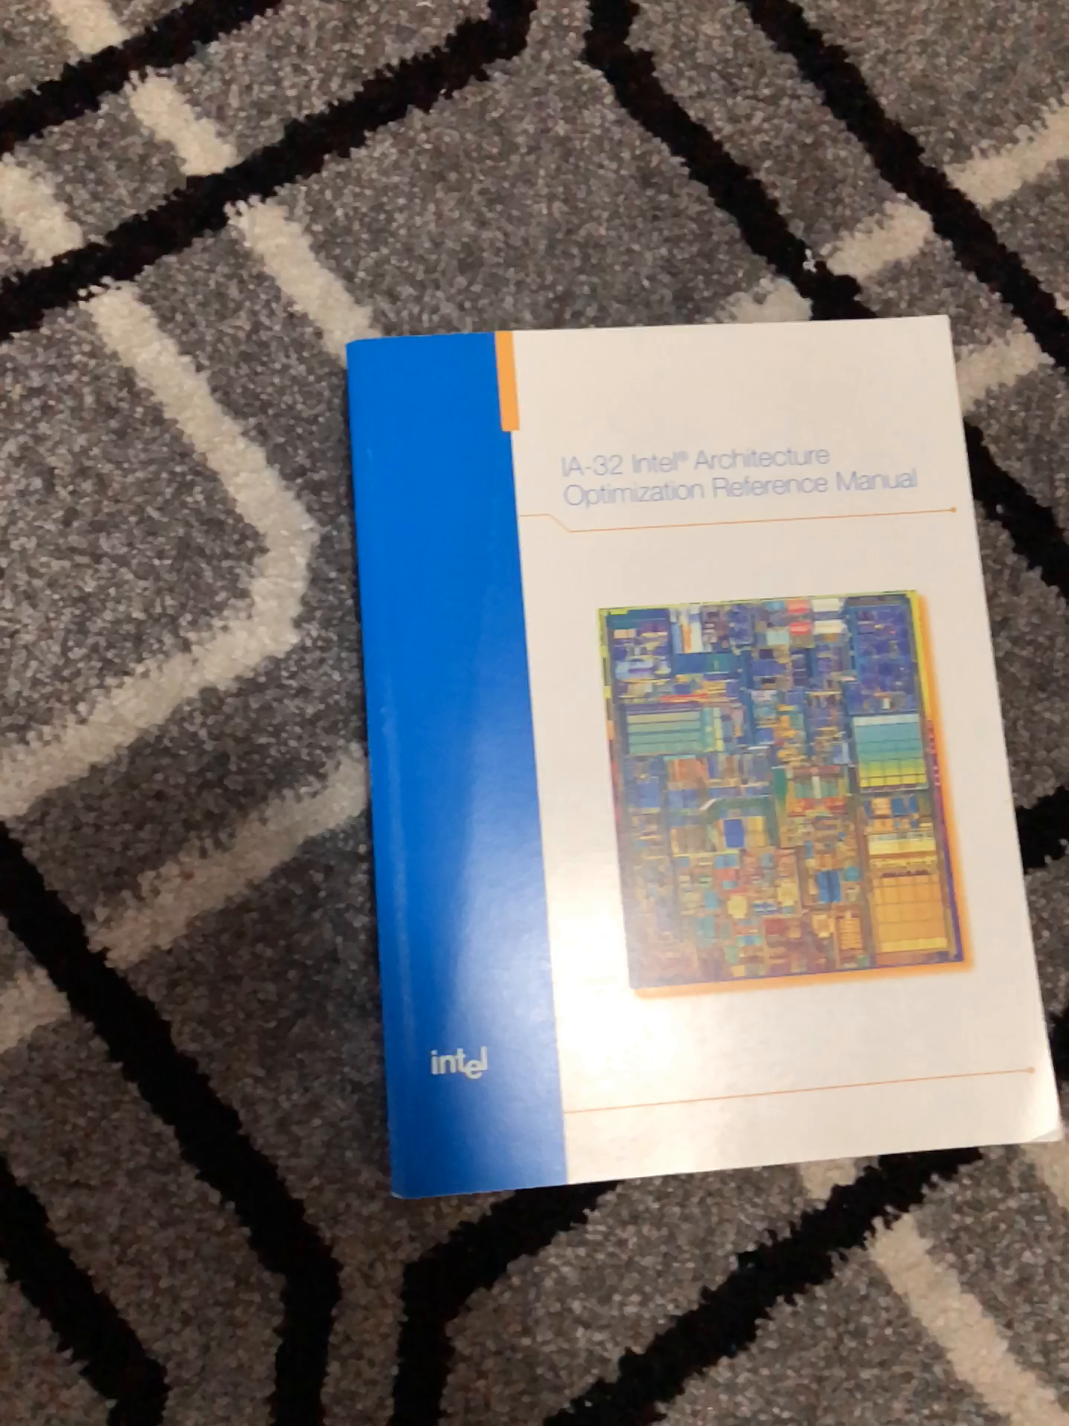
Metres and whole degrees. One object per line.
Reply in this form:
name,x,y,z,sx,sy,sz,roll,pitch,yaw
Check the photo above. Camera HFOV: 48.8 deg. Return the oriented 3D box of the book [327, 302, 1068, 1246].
book,0.041,0.008,0.296,0.170,0.040,0.210,-4,81,-4
